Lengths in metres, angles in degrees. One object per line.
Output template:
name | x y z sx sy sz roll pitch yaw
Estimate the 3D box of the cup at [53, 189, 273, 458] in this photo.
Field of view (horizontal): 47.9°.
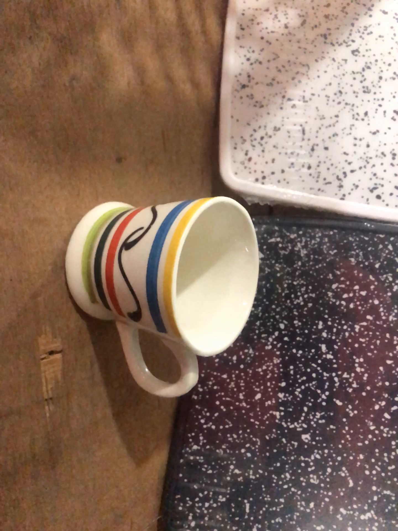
cup | -0.018 0.017 0.210 0.061 0.079 0.100 -7 101 -54
